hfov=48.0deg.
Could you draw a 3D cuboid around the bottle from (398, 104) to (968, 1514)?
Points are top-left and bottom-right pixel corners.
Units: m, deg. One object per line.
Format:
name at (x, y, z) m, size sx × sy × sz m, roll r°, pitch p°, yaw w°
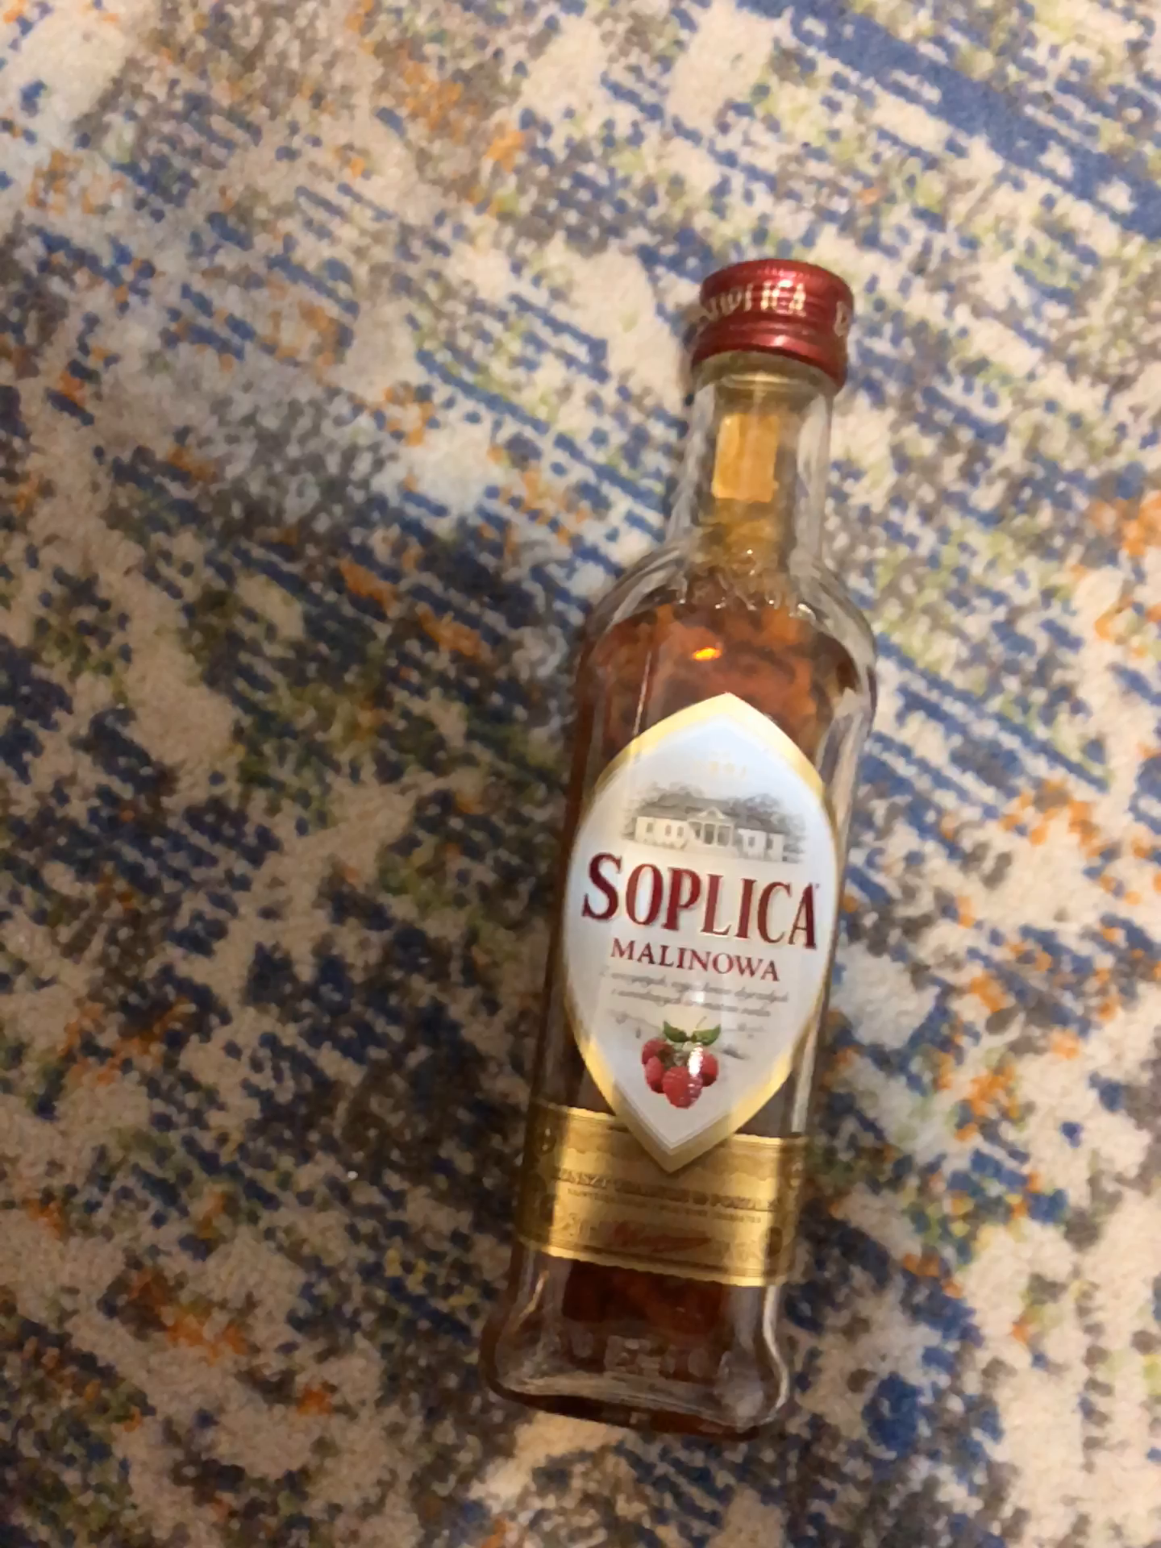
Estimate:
bottle at (0.018, 0.002, 0.220) m, size 0.060 × 0.040 × 0.210 m, roll 8°, pitch 86°, yaw 4°
